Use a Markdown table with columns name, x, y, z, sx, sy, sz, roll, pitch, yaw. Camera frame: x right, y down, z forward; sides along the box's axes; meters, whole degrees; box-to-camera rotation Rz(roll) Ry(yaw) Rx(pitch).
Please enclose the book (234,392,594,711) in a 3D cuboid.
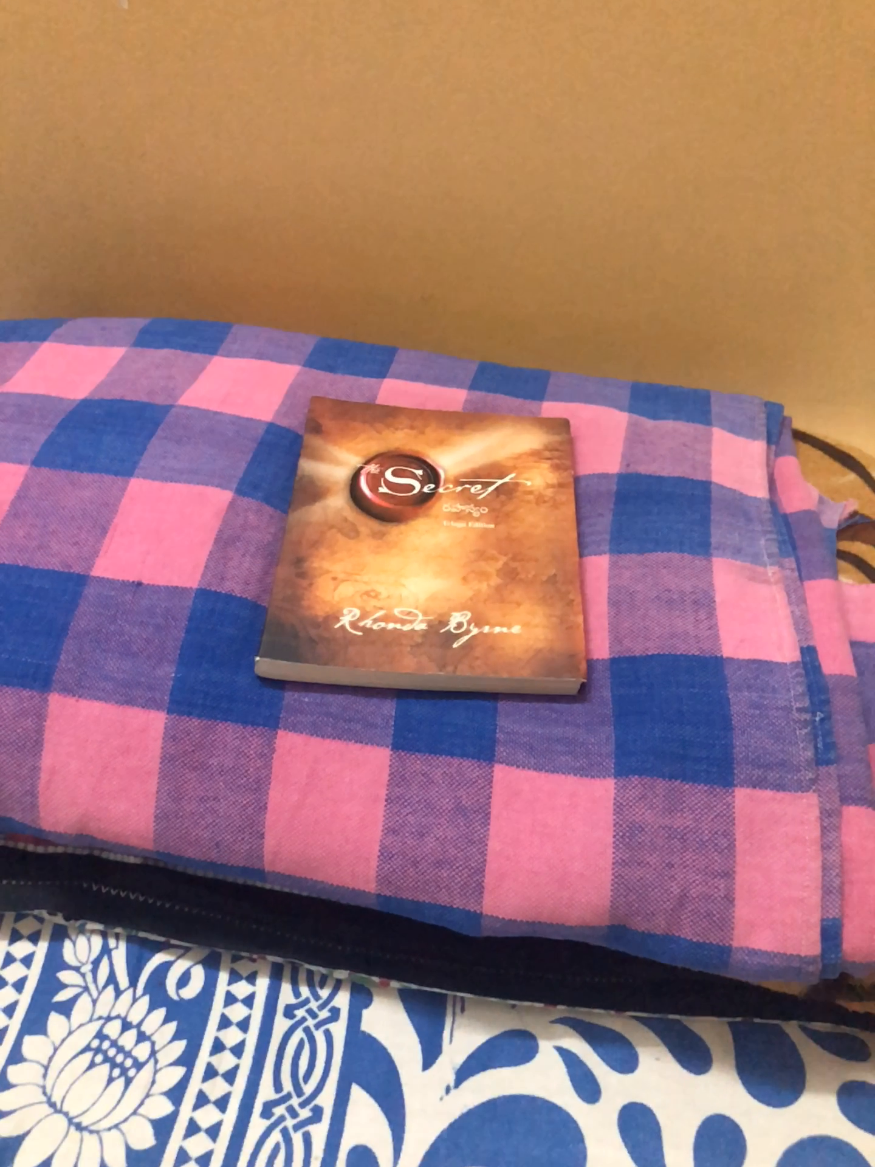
| name | x | y | z | sx | sy | sz | roll | pitch | yaw |
| --- | --- | --- | --- | --- | --- | --- | --- | --- | --- |
| book | -0.004 | -0.026 | 0.474 | 0.150 | 0.020 | 0.191 | 2 | 48 | 3 |
